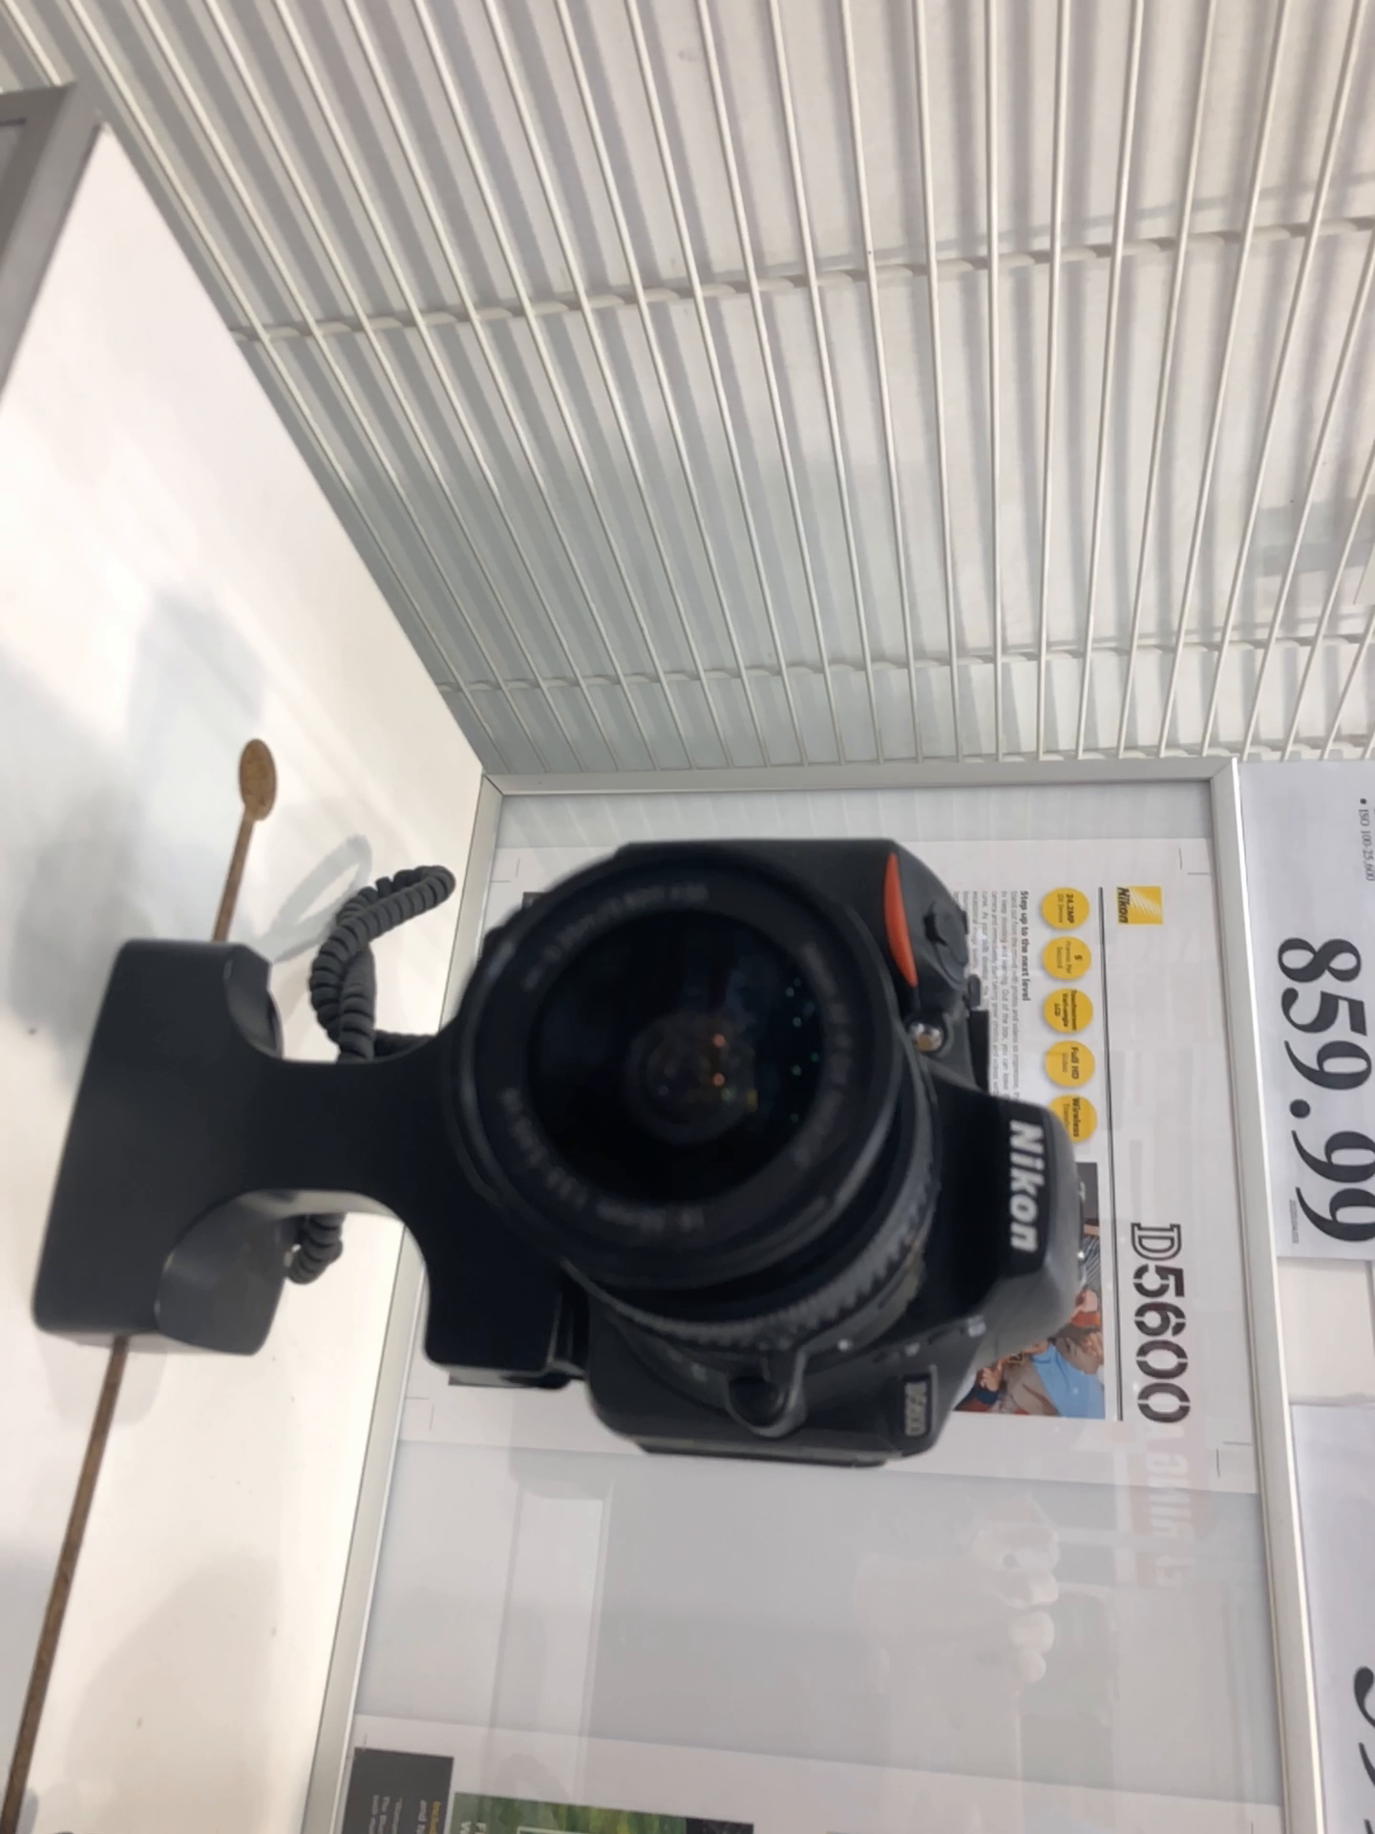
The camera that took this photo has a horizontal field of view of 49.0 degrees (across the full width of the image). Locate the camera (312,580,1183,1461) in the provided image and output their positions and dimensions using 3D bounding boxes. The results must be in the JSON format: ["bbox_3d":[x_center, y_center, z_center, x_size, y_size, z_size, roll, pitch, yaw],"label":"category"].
[{"bbox_3d":[0.022,0.035,0.283,0.160,0.110,0.120,62,29,-68],"label":"camera"}]
